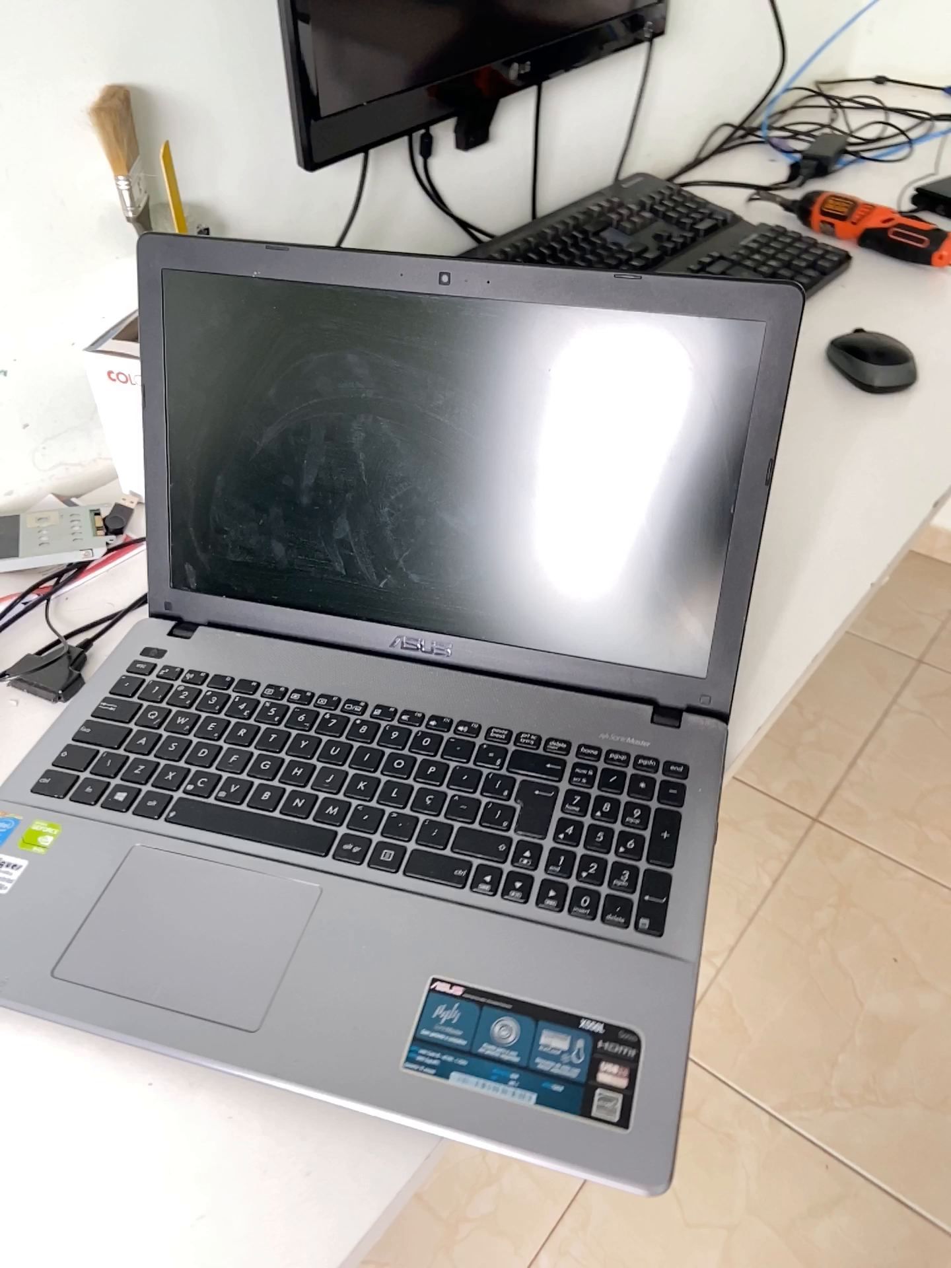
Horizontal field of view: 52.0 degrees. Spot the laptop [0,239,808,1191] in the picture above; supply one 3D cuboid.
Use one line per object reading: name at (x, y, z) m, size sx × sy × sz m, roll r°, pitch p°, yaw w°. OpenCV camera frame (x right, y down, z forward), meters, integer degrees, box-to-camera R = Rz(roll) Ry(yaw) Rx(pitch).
laptop at (-0.060, -0.009, 0.477) m, size 0.376 × 0.213 × 0.358 m, roll 9°, pitch 43°, yaw 14°
